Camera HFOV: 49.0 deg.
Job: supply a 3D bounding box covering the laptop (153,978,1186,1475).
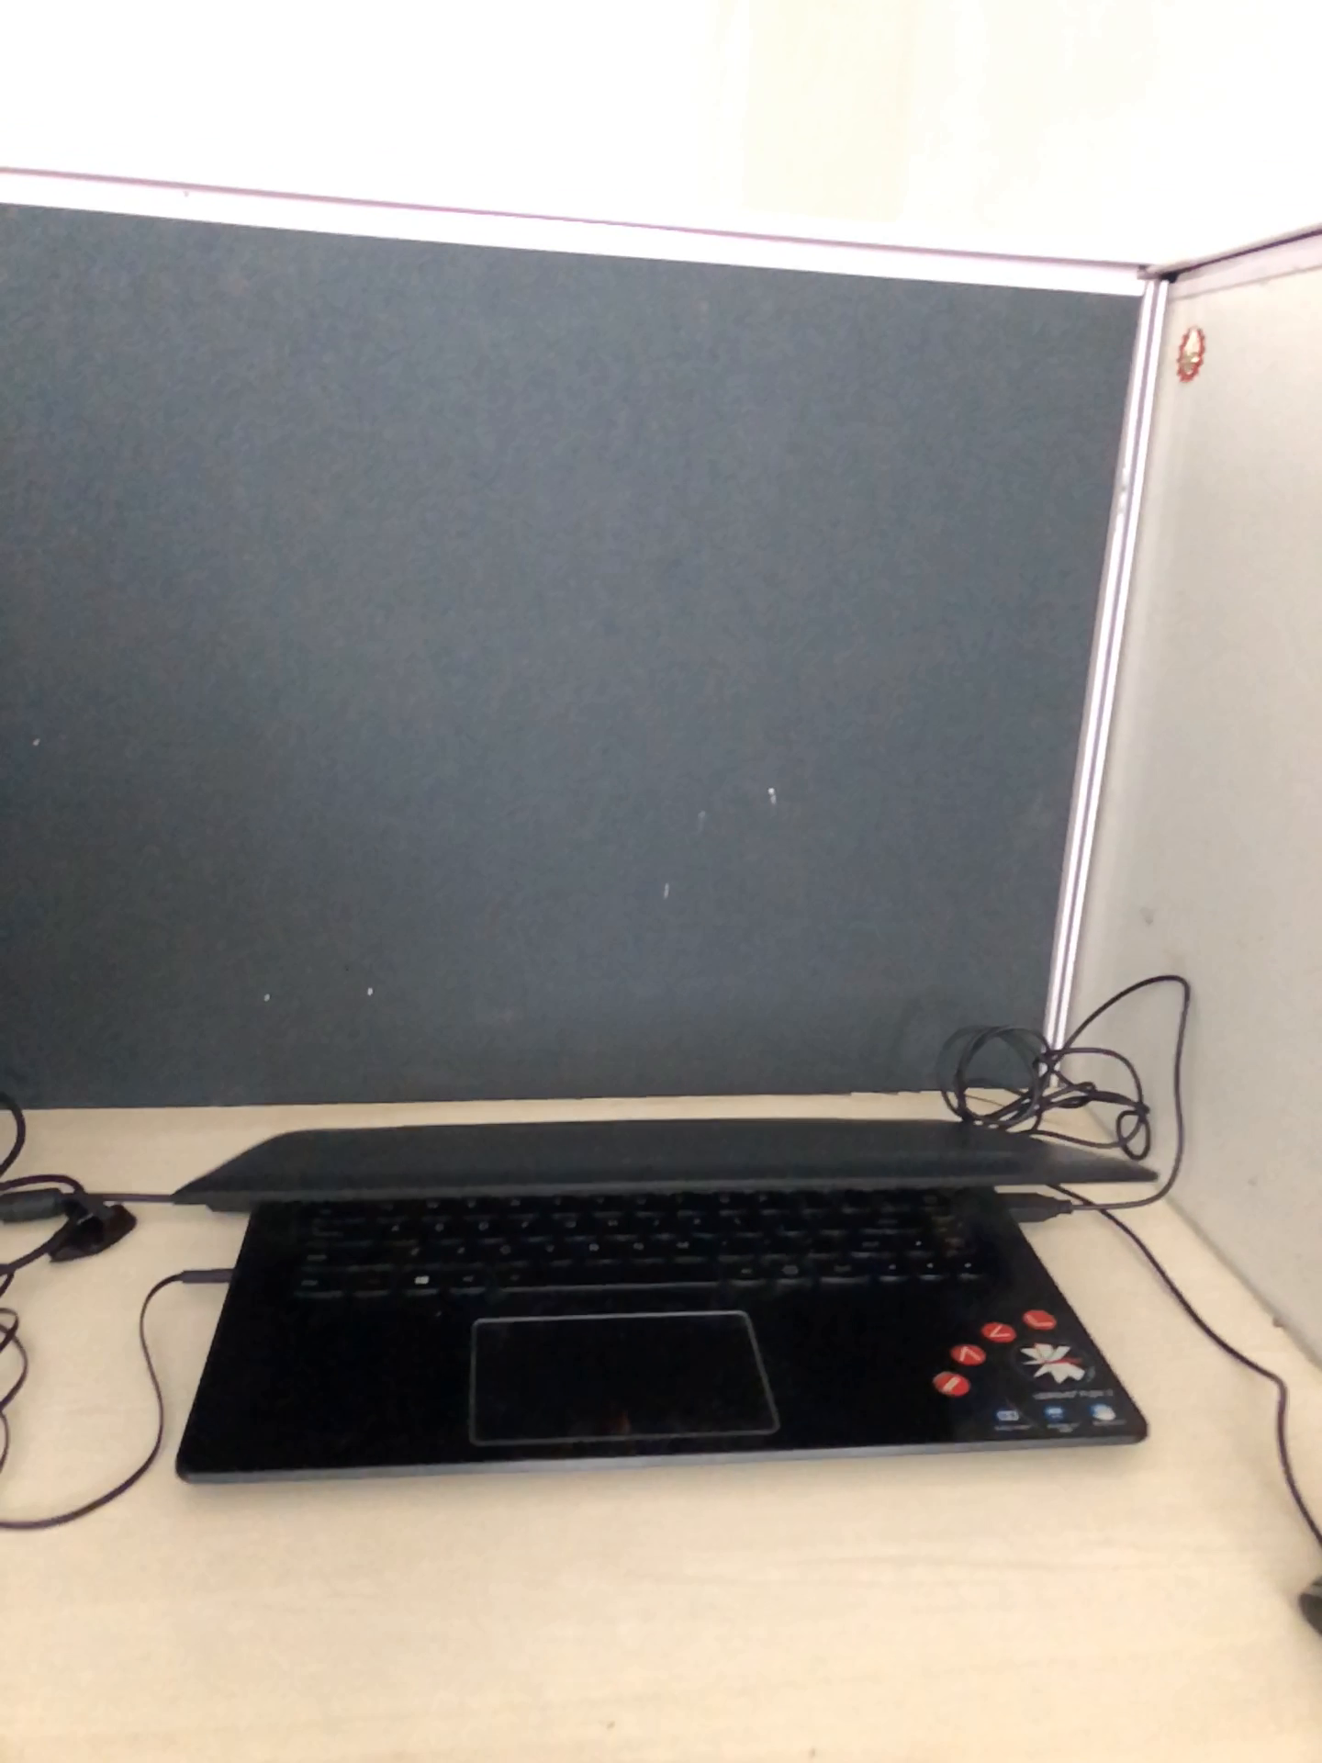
[{"bbox_3d":[-0.004,0.116,0.570,0.326,0.083,0.220,0,16,-6],"label":"laptop"}]
